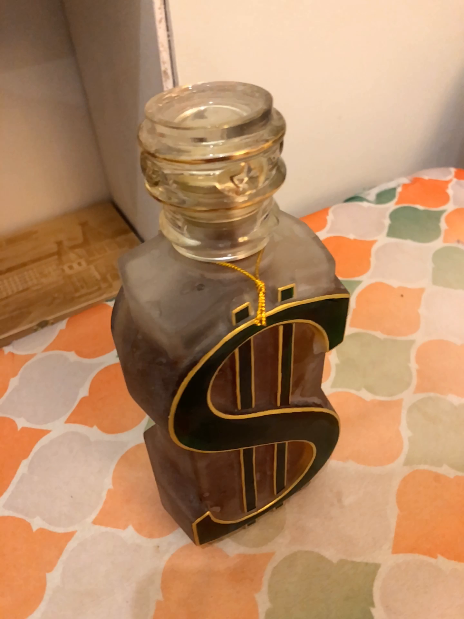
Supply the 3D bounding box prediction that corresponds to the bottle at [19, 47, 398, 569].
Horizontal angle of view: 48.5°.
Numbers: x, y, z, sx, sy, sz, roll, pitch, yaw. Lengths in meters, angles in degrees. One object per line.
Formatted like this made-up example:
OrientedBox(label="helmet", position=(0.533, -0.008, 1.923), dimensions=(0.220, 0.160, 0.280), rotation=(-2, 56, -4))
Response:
OrientedBox(label="bottle", position=(-0.002, 0.021, 0.241), dimensions=(0.100, 0.233, 0.064), rotation=(-25, 47, -20))
